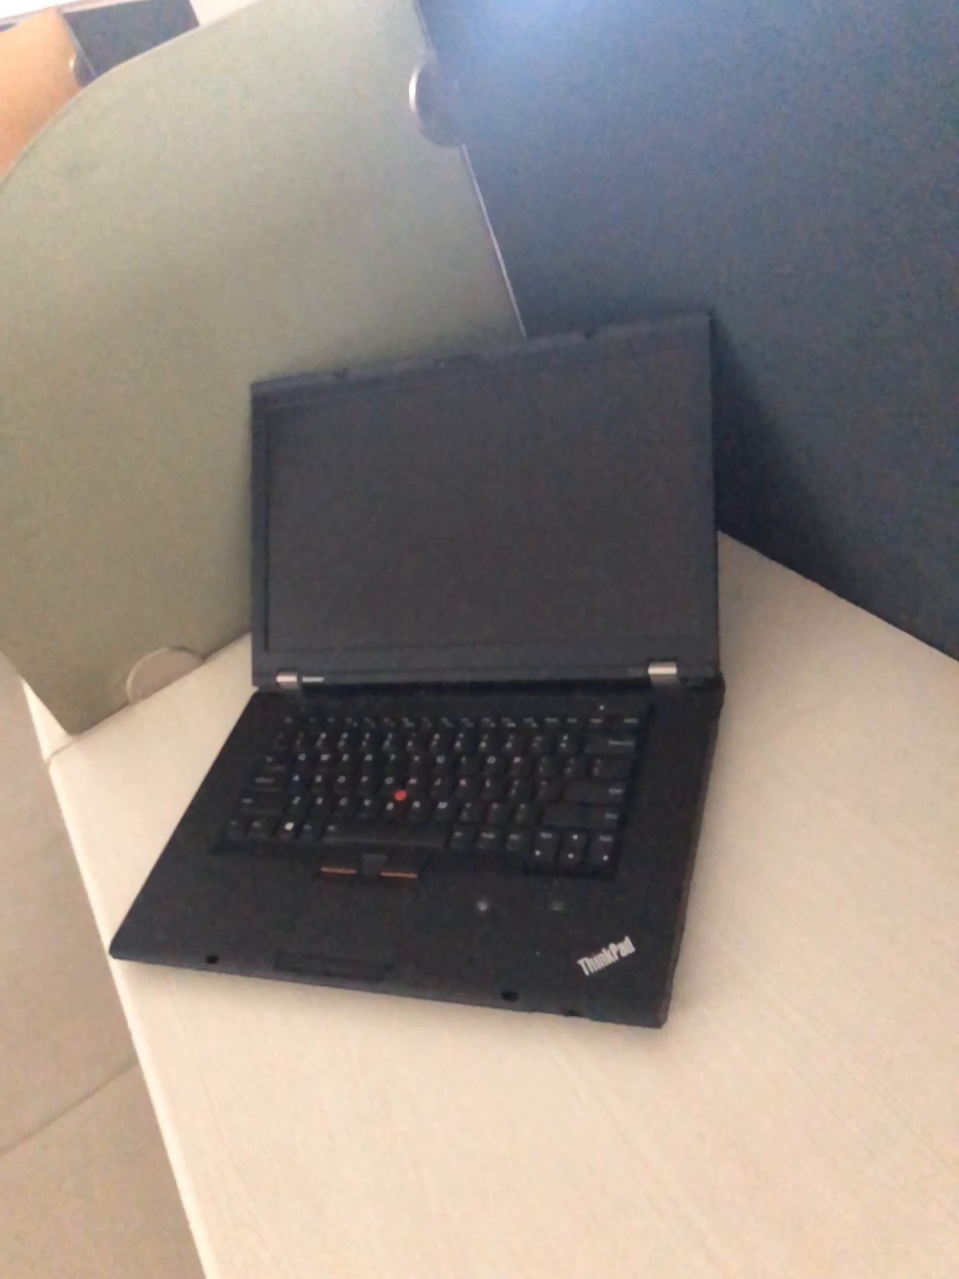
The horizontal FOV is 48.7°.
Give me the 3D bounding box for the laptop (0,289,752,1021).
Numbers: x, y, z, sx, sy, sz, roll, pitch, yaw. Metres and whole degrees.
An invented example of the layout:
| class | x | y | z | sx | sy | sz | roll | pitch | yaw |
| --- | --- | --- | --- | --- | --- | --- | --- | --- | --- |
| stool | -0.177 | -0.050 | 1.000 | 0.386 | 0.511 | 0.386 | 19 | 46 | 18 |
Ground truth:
| class | x | y | z | sx | sy | sz | roll | pitch | yaw |
| --- | --- | --- | --- | --- | --- | --- | --- | --- | --- |
| laptop | -0.045 | -0.012 | 0.675 | 0.356 | 0.167 | 0.406 | -3 | 43 | 26 |
